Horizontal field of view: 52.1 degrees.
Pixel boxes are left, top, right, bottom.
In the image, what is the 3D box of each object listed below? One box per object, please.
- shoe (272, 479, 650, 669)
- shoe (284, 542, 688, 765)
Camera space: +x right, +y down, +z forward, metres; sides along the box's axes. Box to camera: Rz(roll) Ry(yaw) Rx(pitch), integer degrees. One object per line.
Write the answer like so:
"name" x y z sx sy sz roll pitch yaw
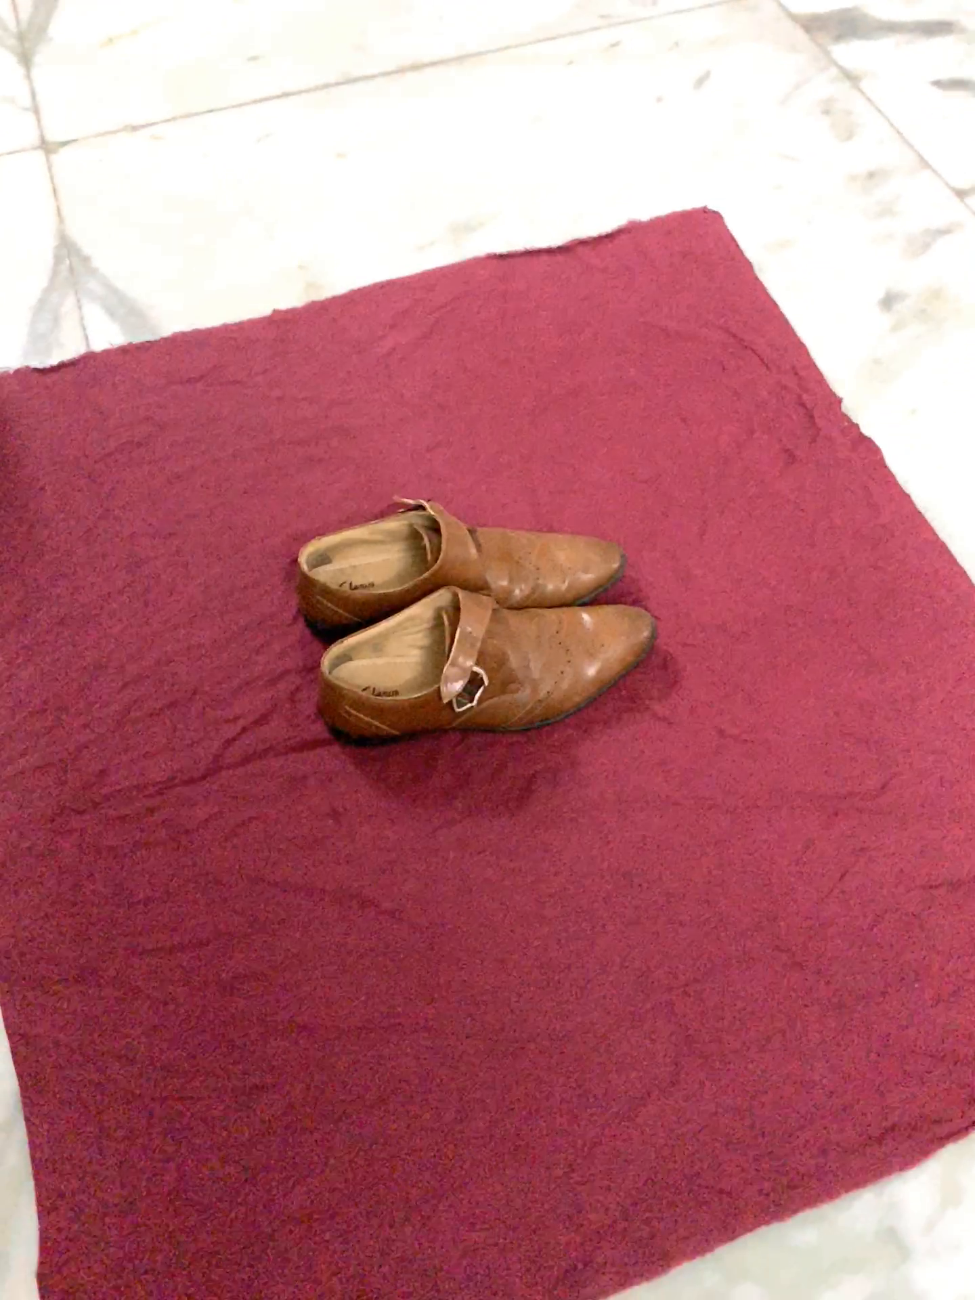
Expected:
"shoe" -0.025 -0.067 0.884 0.310 0.089 0.101 -7 60 -4
"shoe" -0.003 0.003 0.814 0.300 0.089 0.101 -10 60 -6
